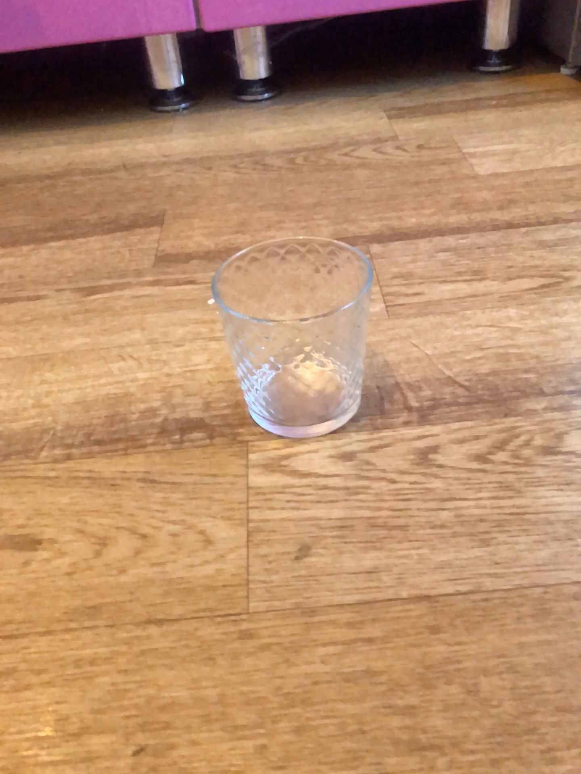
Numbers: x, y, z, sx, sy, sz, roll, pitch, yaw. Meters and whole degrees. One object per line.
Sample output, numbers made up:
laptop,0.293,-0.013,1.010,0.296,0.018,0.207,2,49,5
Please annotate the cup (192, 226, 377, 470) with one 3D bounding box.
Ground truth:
cup,-0.001,-0.021,0.336,0.080,0.090,0.080,-4,41,3
